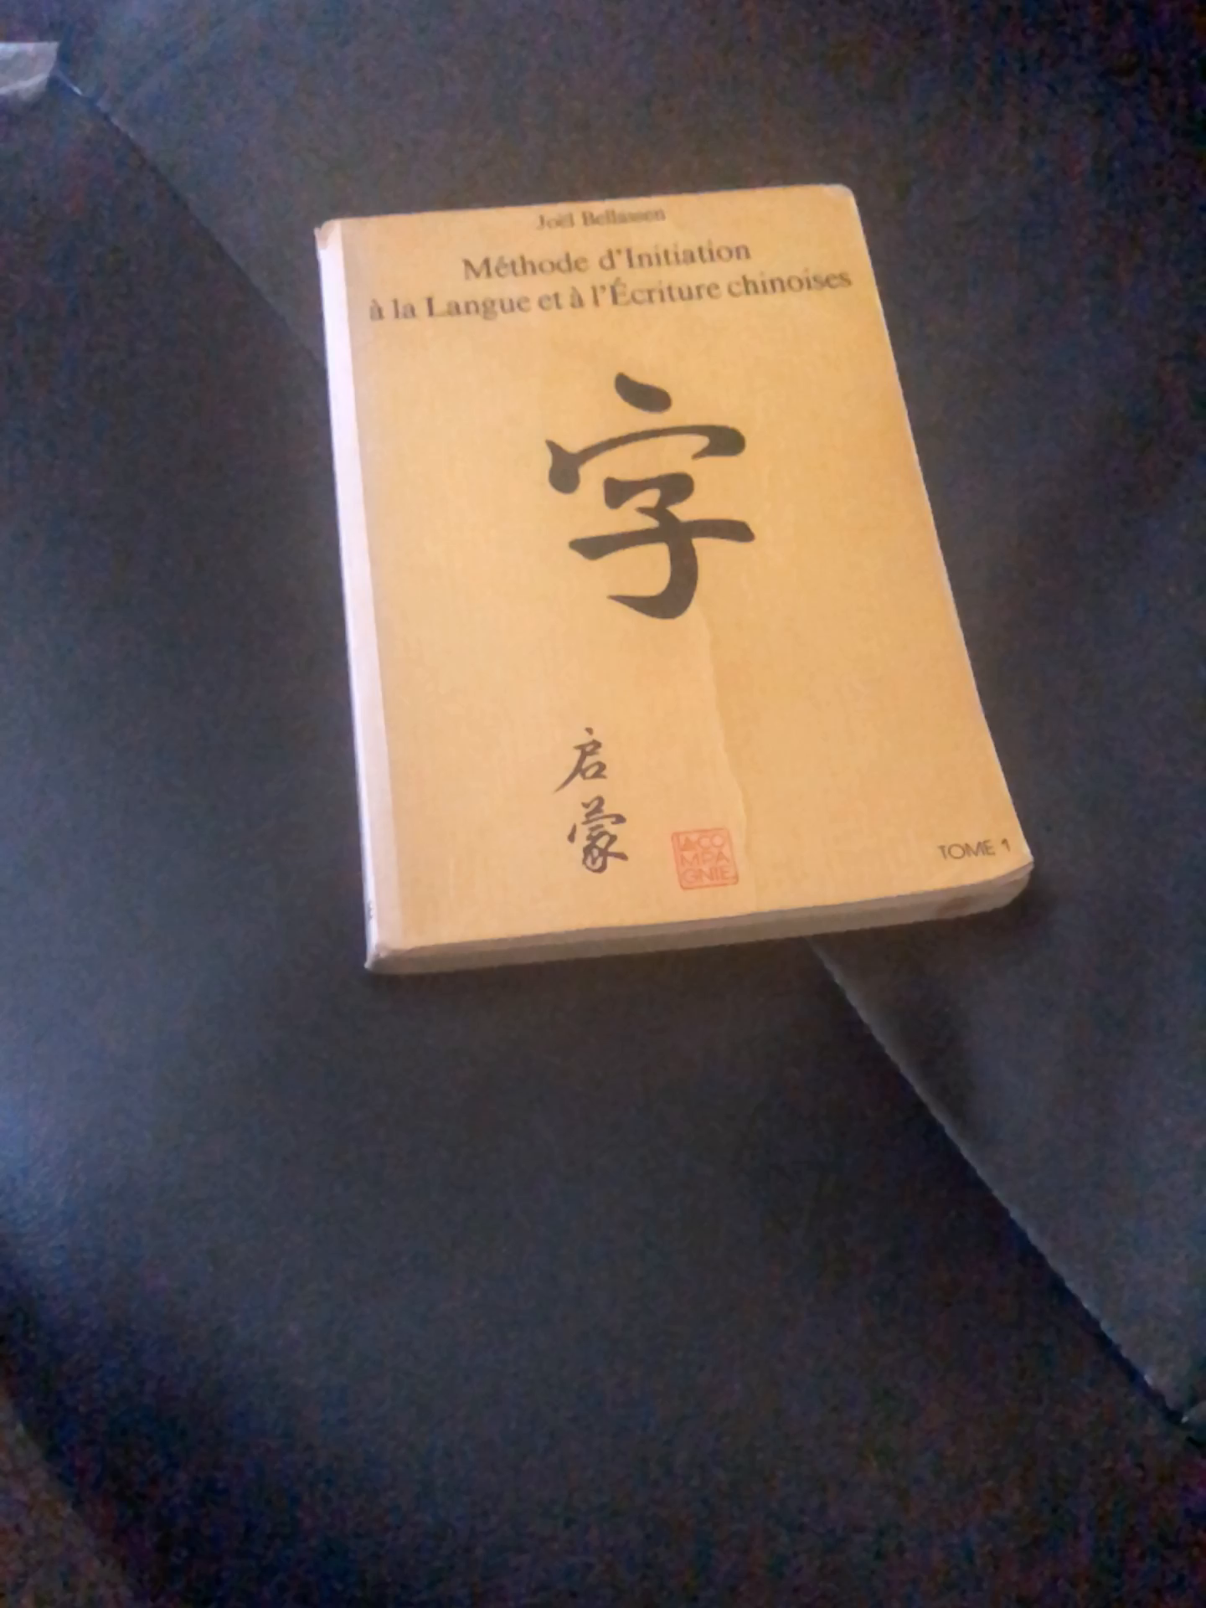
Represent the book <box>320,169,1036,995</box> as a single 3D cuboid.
[{"bbox_3d":[0.008,-0.069,0.349,0.152,0.029,0.220,-6,66,-2],"label":"book"}]
